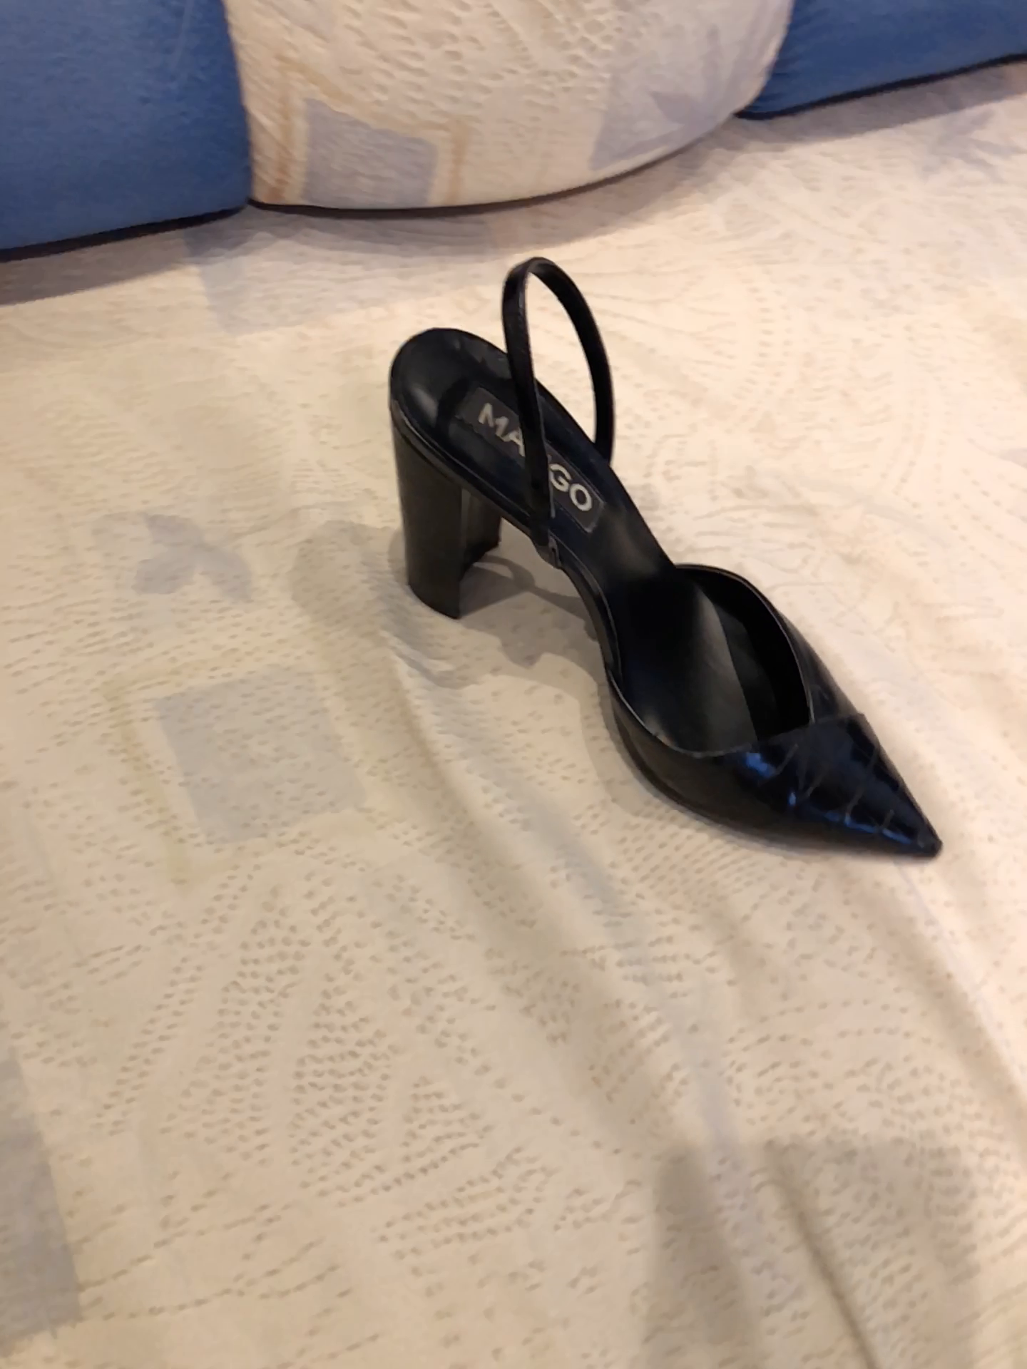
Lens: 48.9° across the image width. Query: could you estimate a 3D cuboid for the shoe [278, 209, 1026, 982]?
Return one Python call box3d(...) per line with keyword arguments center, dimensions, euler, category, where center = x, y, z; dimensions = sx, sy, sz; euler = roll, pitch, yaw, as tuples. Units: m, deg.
box3d(center=(0.054, -0.026, 0.378), dimensions=(0.240, 0.129, 0.100), euler=(32, 63, 11), category="shoe")
